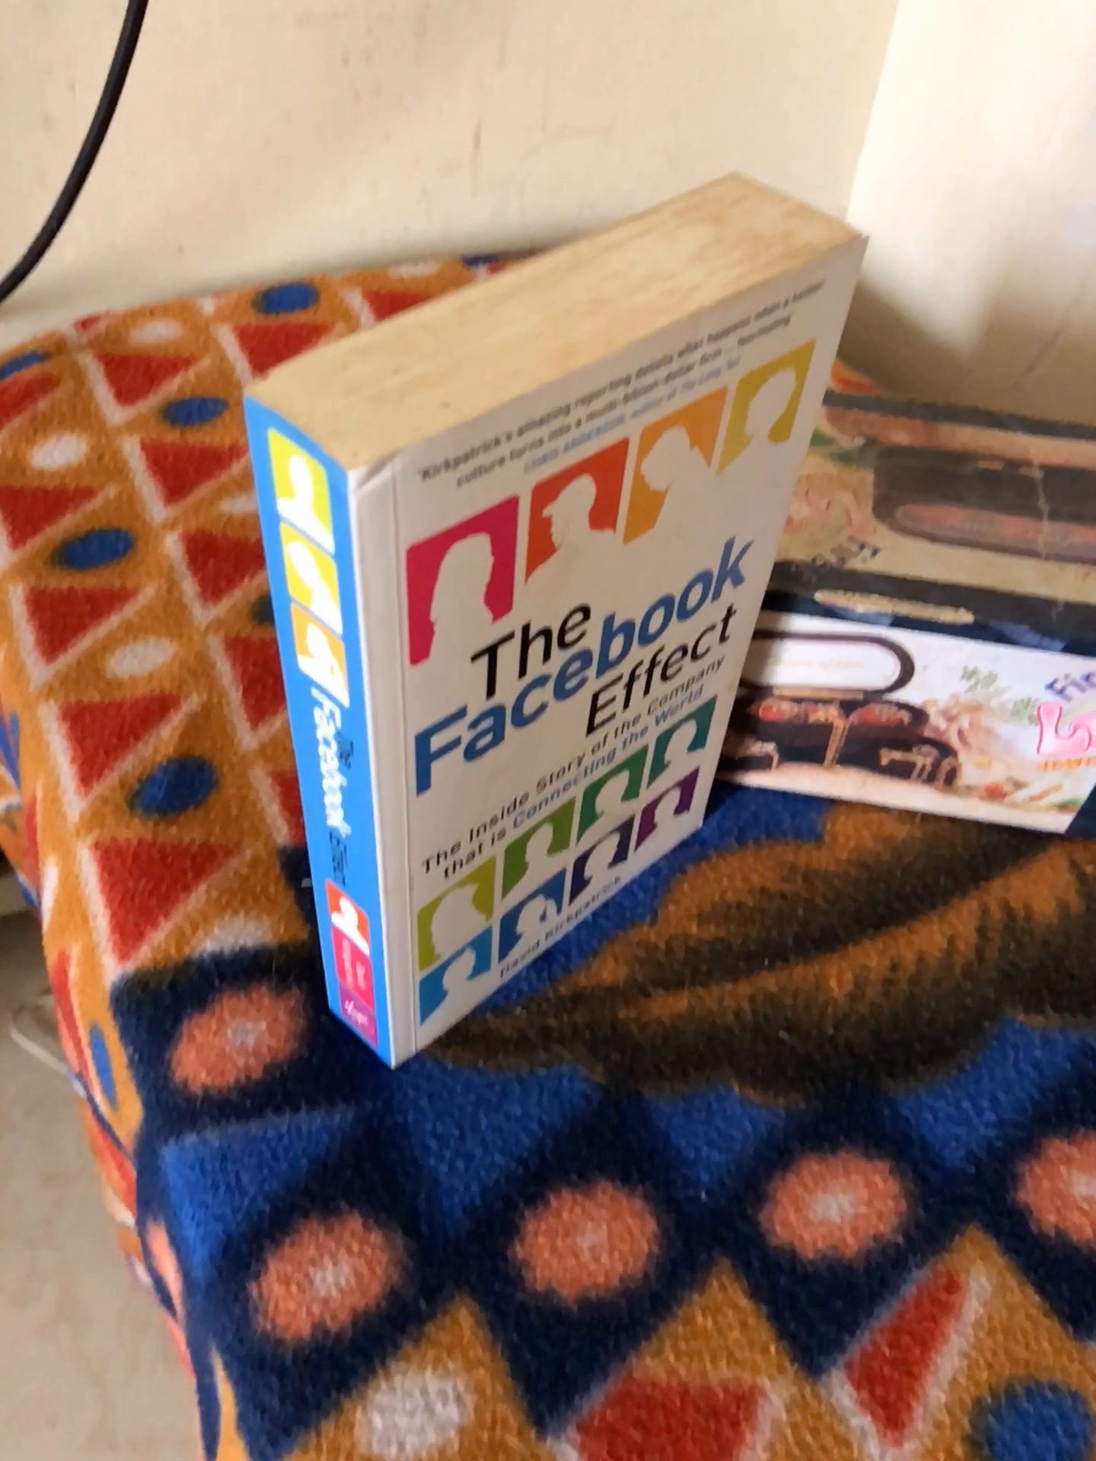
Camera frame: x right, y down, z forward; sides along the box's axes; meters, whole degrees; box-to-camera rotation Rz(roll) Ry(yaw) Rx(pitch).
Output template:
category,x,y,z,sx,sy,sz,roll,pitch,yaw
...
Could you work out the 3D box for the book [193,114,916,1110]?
category,x,y,z,sx,sy,sz,roll,pitch,yaw
book,0.004,-0.017,0.307,0.150,0.219,0.040,-33,57,-31
